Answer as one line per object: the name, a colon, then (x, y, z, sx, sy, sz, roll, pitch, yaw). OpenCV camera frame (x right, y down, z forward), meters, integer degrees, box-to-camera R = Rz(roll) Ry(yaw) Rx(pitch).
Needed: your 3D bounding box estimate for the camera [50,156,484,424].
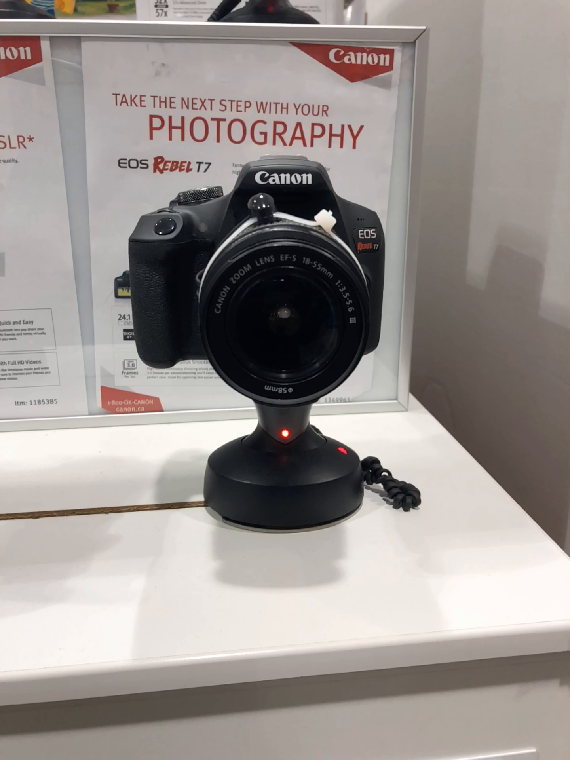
camera: (-0.008, -0.051, 0.289, 0.140, 0.090, 0.150, -1, 17, -2)
